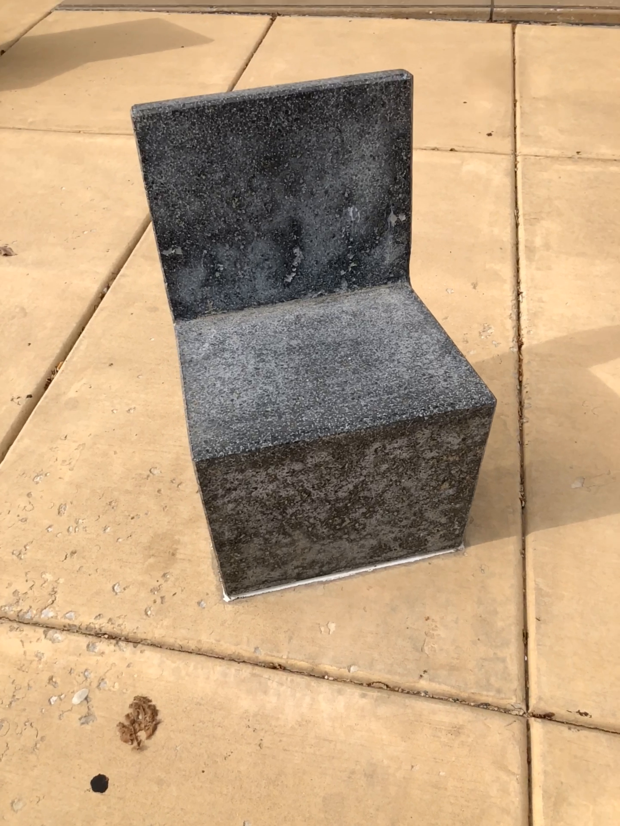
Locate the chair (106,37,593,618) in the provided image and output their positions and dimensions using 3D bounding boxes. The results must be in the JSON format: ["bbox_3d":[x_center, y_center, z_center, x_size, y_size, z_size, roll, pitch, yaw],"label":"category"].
[{"bbox_3d":[0.010,-0.162,1.233,0.570,0.798,0.561,-10,39,-10],"label":"chair"}]
